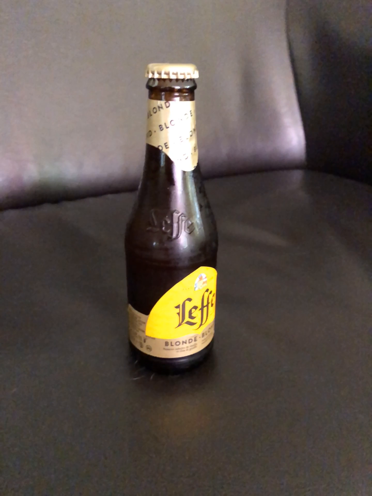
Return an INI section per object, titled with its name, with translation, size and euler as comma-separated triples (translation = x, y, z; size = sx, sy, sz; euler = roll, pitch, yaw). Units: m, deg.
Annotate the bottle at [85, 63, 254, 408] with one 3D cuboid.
[bottle]
translation = -0.010, -0.006, 0.248
size = 0.060, 0.189, 0.060
euler = 1, 26, 0
